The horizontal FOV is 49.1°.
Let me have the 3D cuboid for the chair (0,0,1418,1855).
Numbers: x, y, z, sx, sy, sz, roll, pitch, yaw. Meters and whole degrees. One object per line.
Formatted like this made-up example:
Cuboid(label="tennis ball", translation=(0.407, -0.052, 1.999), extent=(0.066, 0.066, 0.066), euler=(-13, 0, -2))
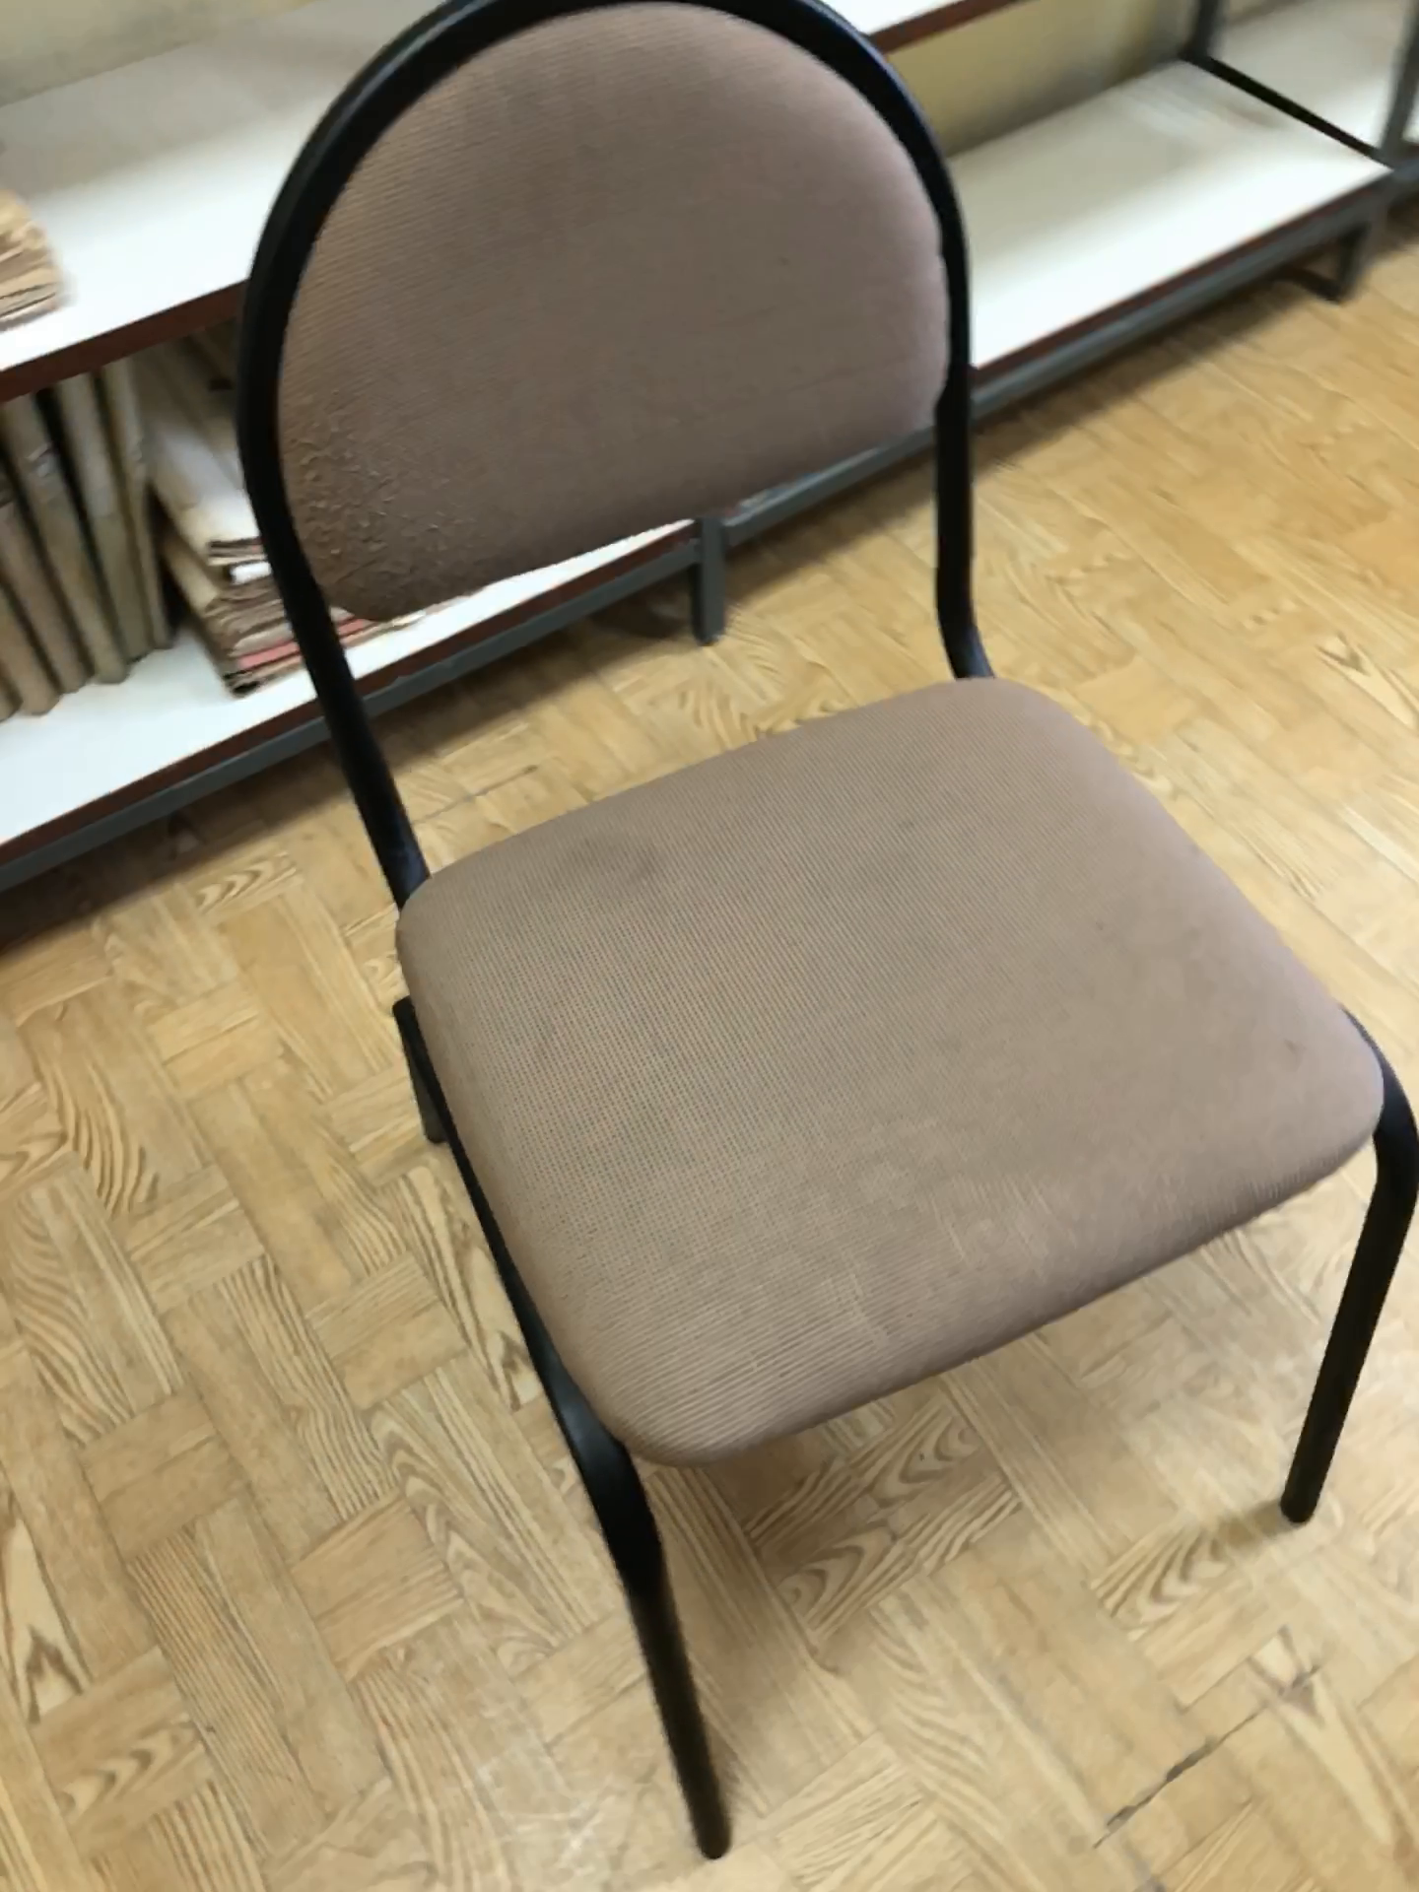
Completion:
Cuboid(label="chair", translation=(0.078, 0.017, 0.801), extent=(0.479, 0.768, 0.575), euler=(-22, 58, -13))
